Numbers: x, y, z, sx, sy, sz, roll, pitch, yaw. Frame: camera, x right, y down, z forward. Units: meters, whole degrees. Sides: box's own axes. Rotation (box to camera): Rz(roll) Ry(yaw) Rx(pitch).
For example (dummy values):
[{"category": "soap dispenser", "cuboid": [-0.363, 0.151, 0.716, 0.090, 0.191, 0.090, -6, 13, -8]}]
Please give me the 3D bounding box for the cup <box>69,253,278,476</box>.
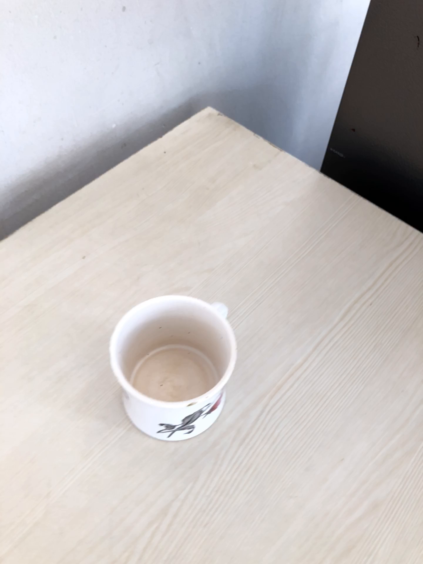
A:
[{"category": "cup", "cuboid": [-0.021, 0.050, 0.297, 0.080, 0.070, 0.090, 33, 59, 18]}]
